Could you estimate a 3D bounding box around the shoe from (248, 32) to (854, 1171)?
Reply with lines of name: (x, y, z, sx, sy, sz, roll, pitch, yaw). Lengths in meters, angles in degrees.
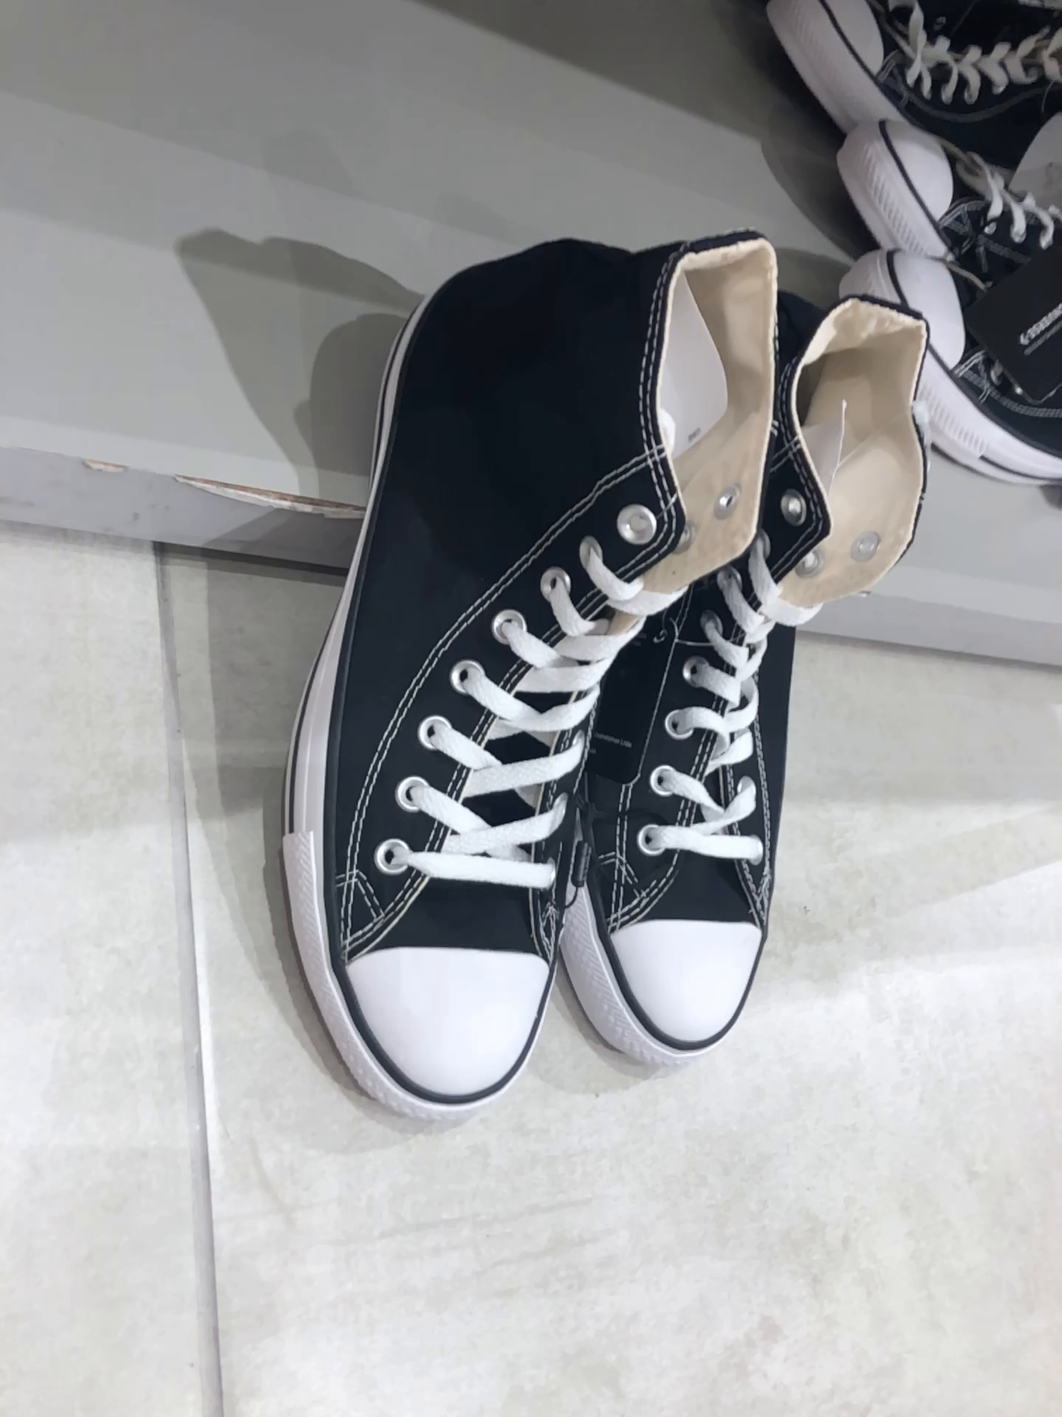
shoe: (0.001, -0.027, 0.405, 0.120, 0.139, 0.310, 8, 87, -30)

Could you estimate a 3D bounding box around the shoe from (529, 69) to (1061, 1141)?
shoe: (0.100, -0.031, 0.449, 0.120, 0.139, 0.330, 6, 89, -31)
